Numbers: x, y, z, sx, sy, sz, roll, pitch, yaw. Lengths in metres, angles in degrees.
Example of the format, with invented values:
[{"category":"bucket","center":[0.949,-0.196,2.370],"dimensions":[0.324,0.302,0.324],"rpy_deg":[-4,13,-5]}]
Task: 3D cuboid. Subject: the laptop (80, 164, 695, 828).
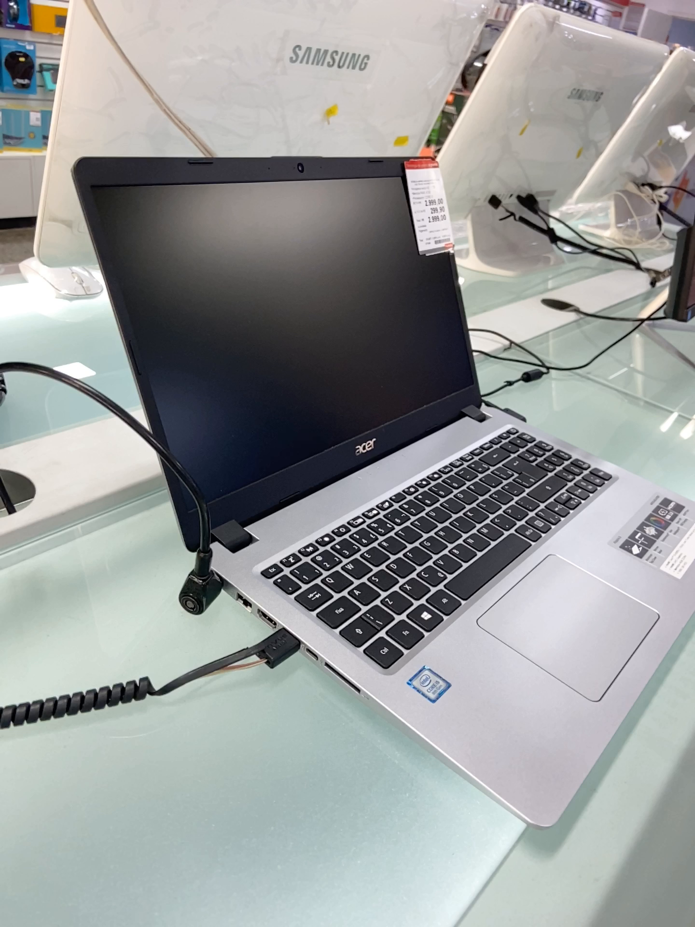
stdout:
[{"category":"laptop","center":[0.086,-0.058,0.492],"dimensions":[0.364,0.204,0.367],"rpy_deg":[30,35,30]}]
